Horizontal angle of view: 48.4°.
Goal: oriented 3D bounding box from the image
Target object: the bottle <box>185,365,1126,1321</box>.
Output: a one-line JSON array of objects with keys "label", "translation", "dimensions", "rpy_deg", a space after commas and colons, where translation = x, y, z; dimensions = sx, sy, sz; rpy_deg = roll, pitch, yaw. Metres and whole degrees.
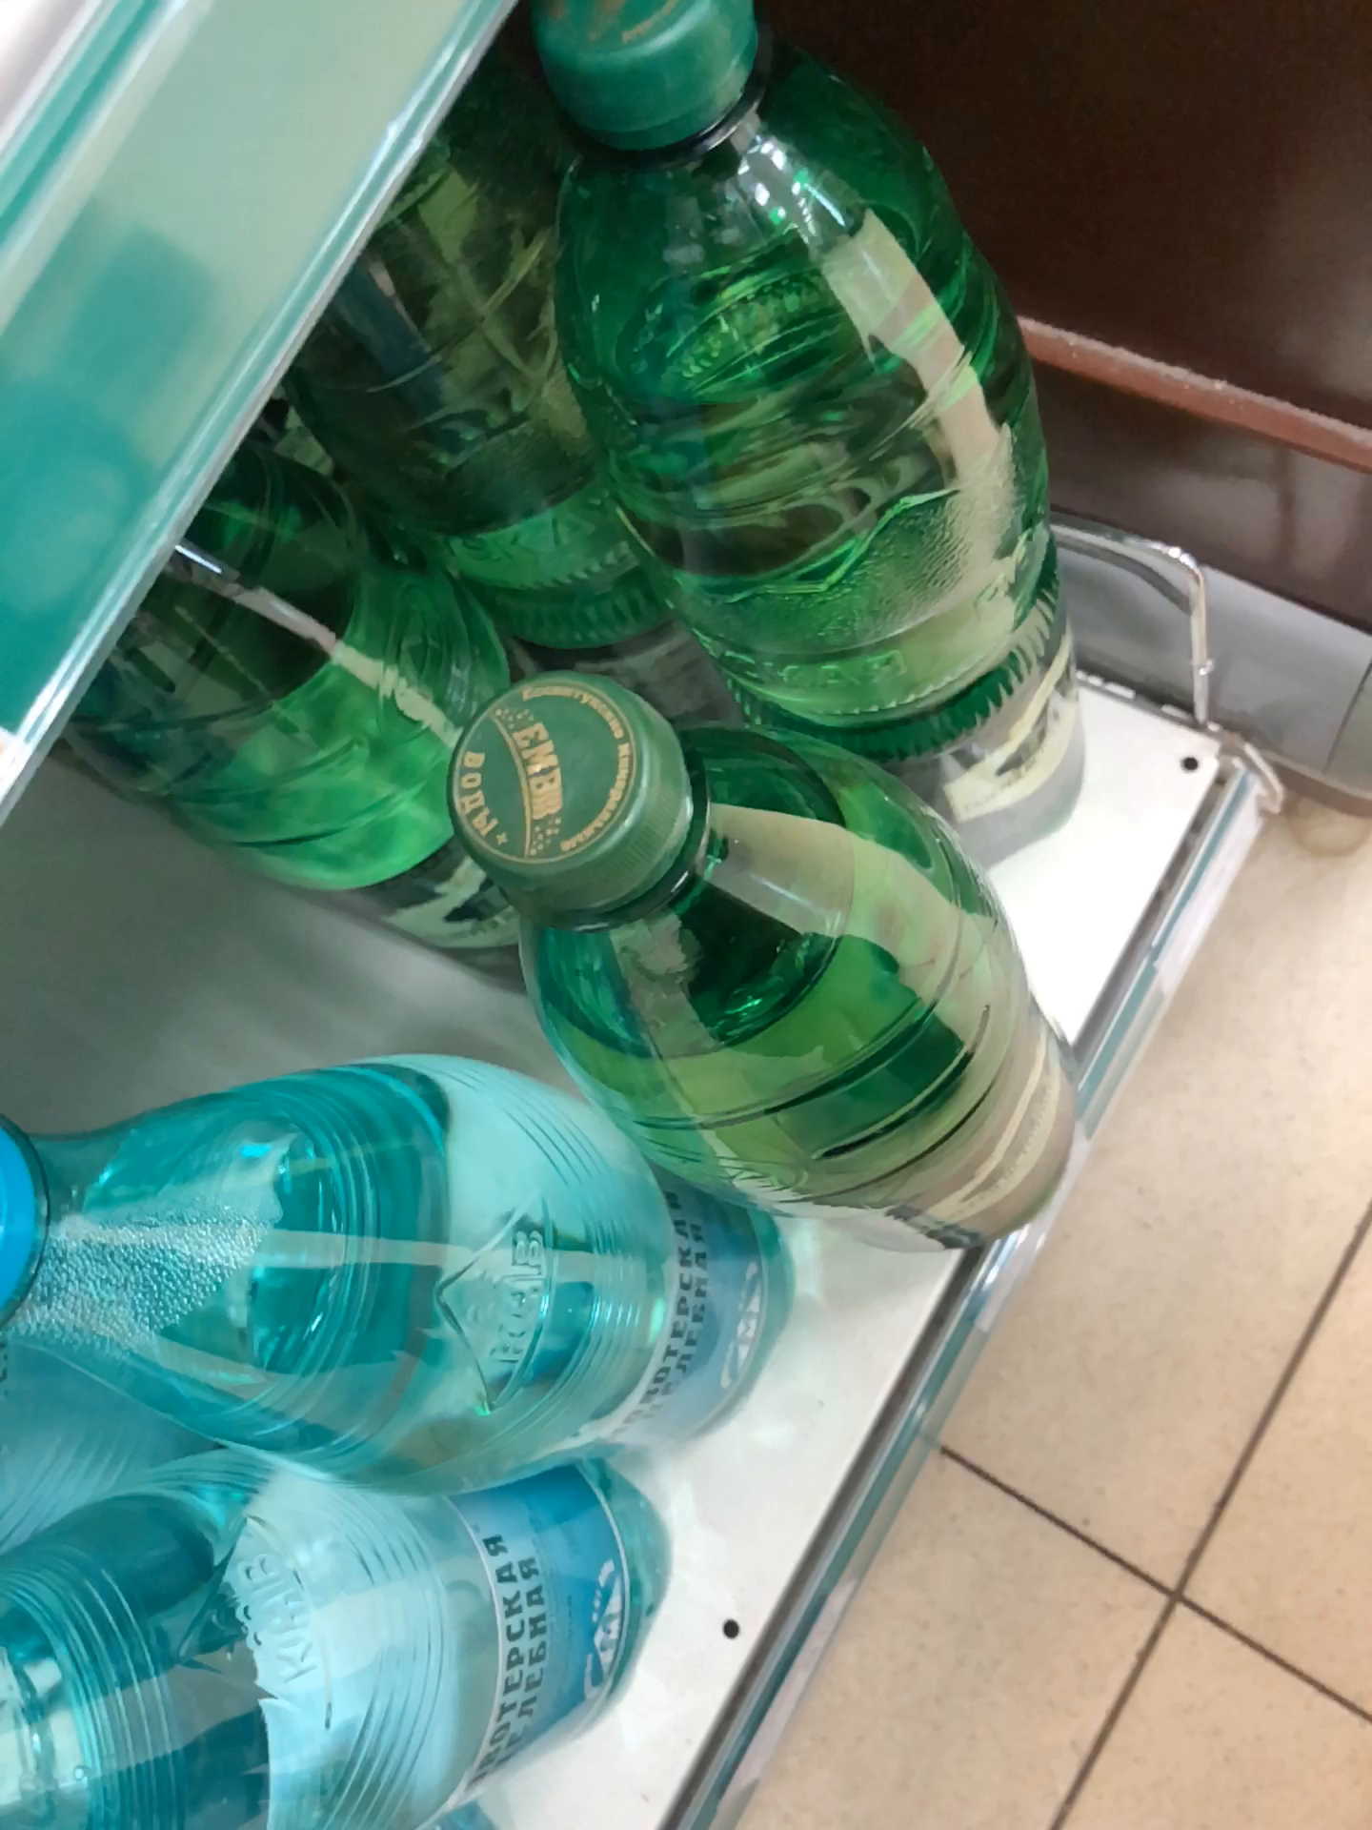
[{"label": "bottle", "translation": [0.034, 0.022, 0.337], "dimensions": [0.088, 0.309, 0.091], "rpy_deg": [-4, 74, 15]}]

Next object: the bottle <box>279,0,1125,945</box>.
[{"label": "bottle", "translation": [0.043, -0.090, 0.357], "dimensions": [0.082, 0.327, 0.091], "rpy_deg": [27, 83, 21]}]

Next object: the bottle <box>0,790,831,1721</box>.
[{"label": "bottle", "translation": [-0.051, 0.079, 0.336], "dimensions": [0.076, 0.327, 0.083], "rpy_deg": [-4, 74, 15]}]
